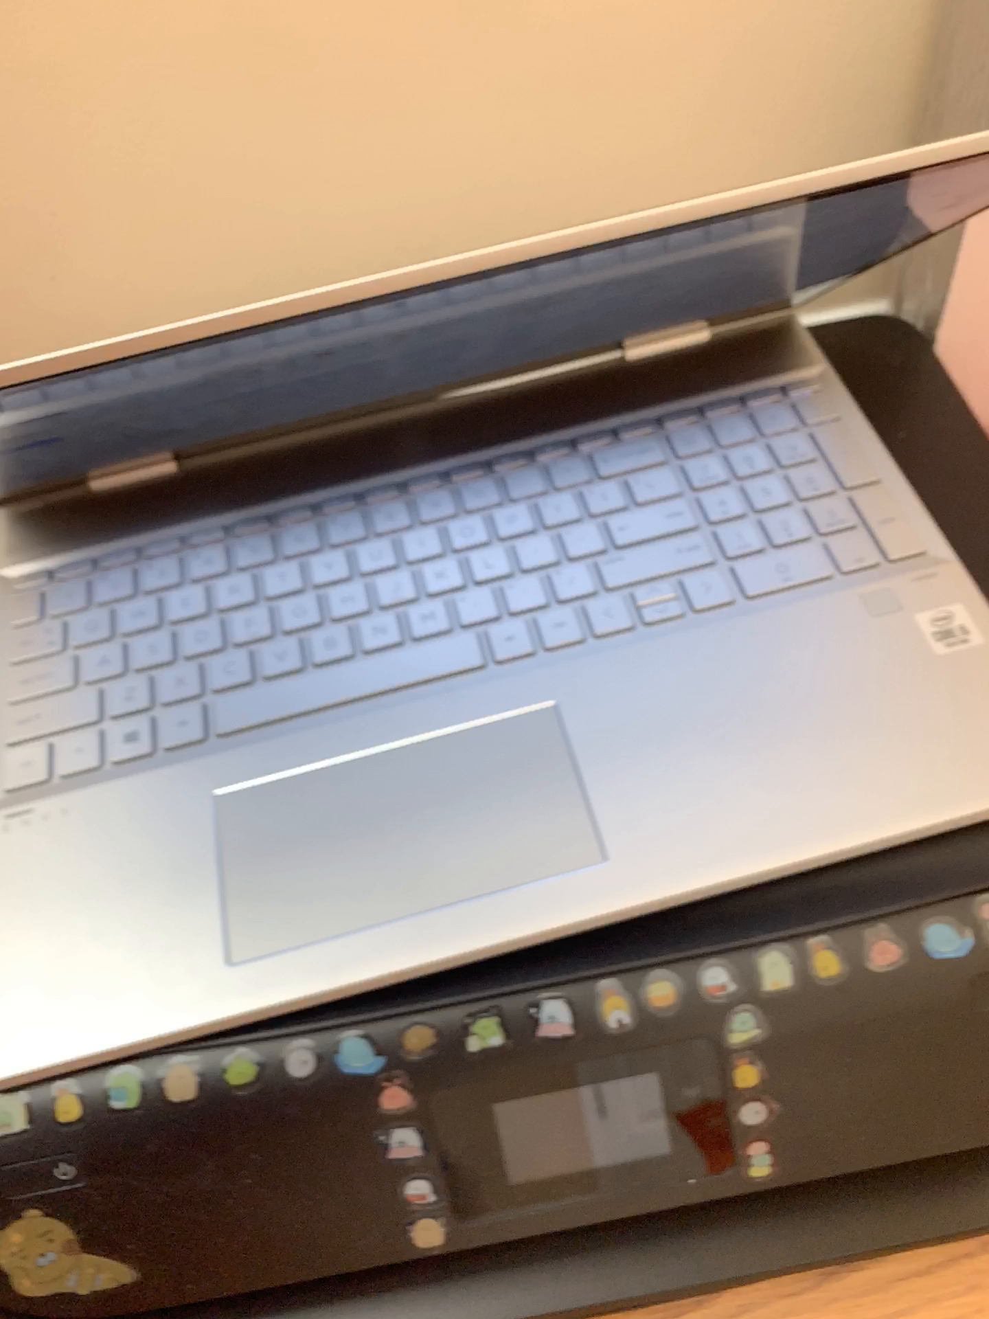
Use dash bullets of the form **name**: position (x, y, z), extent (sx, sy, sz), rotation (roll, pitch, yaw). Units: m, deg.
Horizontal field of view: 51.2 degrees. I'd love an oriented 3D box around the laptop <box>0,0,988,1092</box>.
- **laptop**: position (-0.022, -0.061, 0.302), extent (0.350, 0.169, 0.237), rotation (-15, 55, -2)
